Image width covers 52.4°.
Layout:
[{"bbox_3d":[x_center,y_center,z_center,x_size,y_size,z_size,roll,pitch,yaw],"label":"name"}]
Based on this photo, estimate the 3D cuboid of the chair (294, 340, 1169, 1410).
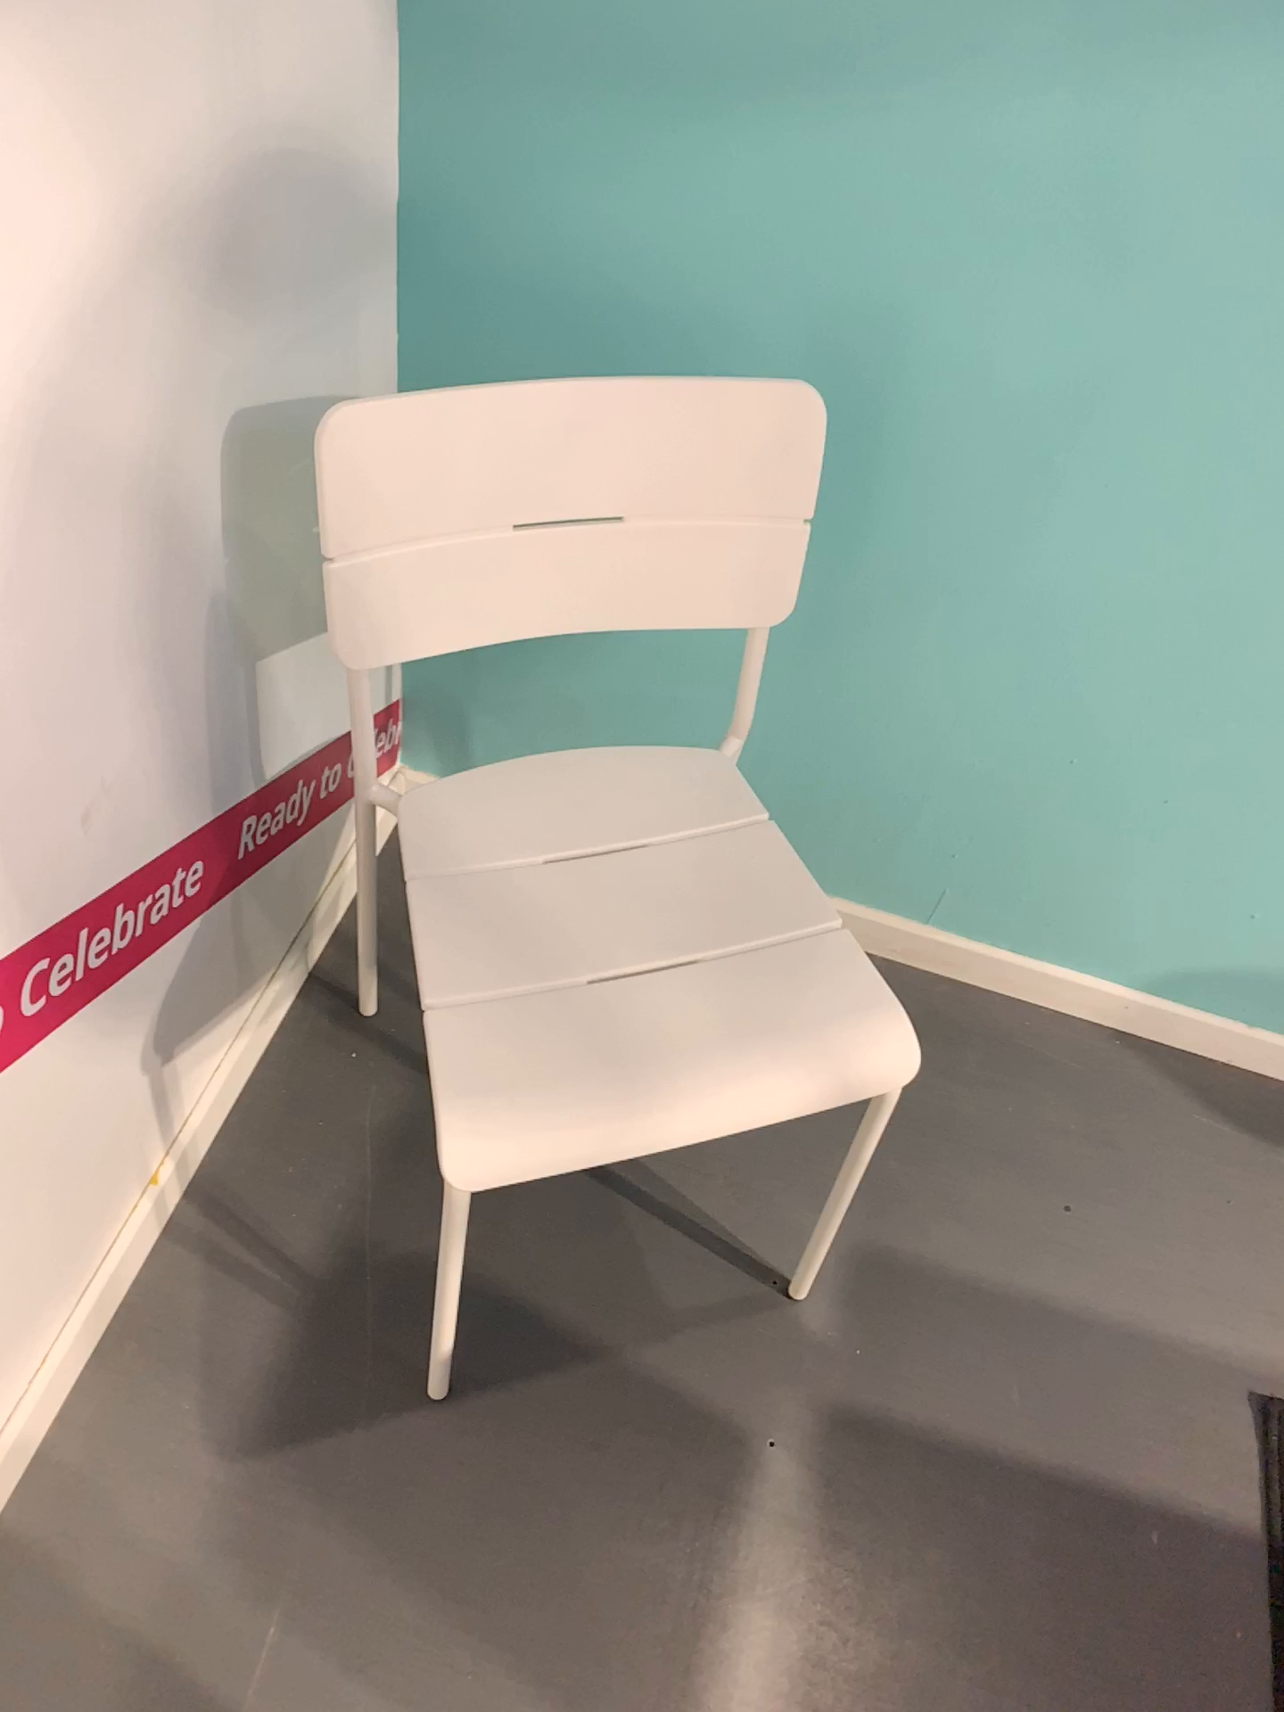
[{"bbox_3d":[-0.023,0.059,1.120,0.430,0.807,0.451,-8,51,-17],"label":"chair"}]
